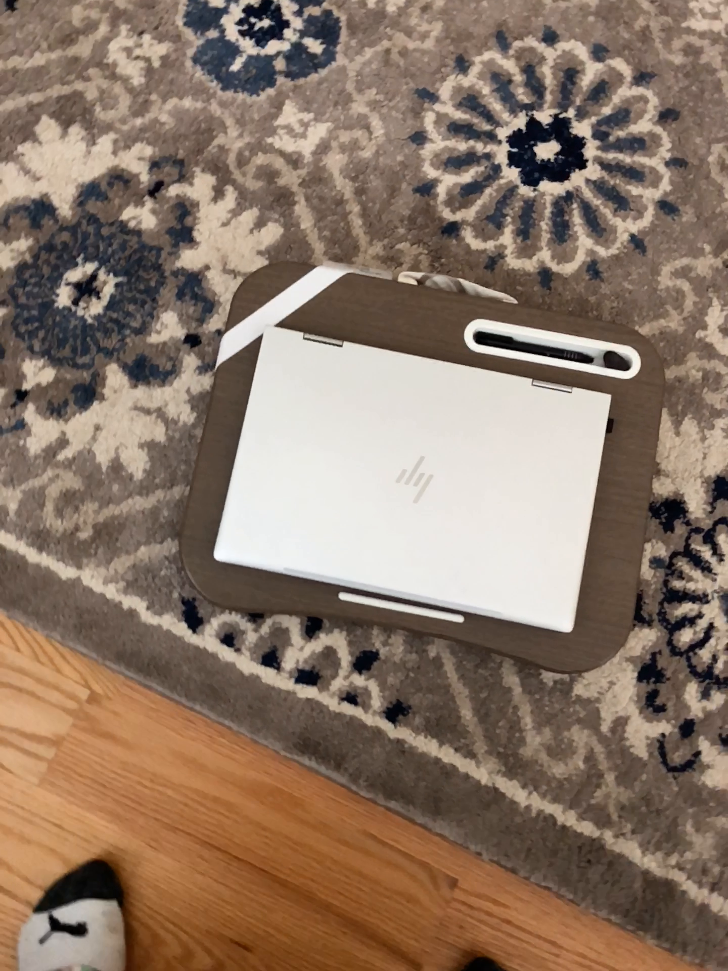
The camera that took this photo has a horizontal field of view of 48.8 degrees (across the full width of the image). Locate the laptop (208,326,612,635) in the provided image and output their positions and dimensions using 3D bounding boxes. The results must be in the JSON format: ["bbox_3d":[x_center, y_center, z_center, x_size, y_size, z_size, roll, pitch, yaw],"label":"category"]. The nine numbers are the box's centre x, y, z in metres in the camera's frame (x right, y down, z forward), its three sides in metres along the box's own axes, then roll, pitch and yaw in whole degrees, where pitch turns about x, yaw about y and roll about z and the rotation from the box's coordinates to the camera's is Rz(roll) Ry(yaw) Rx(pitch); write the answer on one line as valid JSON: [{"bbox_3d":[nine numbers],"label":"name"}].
[{"bbox_3d":[0.048,-0.008,0.797,0.354,0.026,0.241,11,80,1],"label":"laptop"}]
